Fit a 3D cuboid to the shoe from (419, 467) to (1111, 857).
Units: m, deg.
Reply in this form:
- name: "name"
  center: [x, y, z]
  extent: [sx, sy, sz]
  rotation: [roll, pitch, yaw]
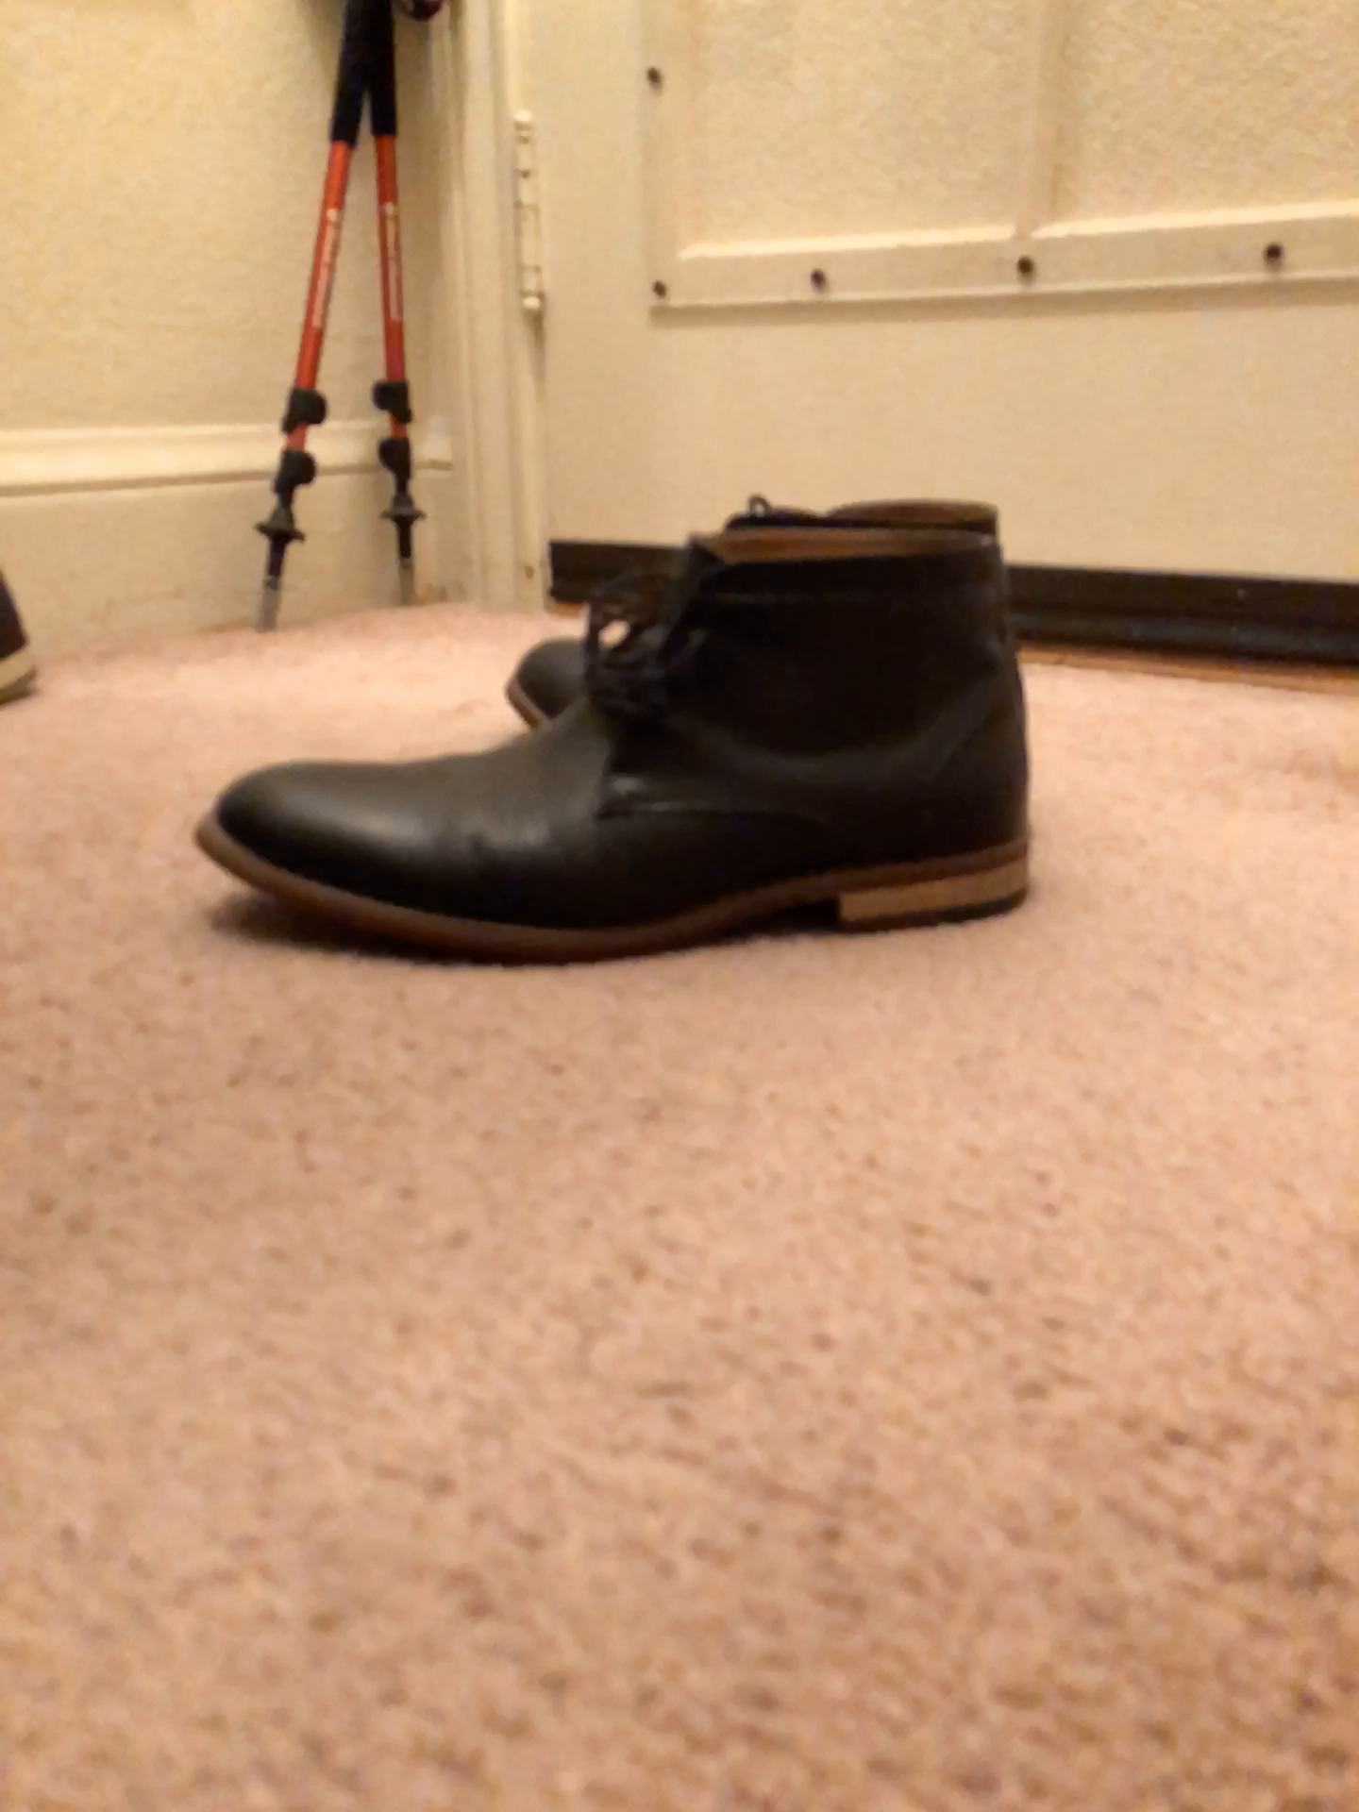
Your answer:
- name: "shoe"
  center: [0.030, -0.129, 0.693]
  extent: [0.302, 0.135, 0.116]
  rotation: [14, 24, 35]

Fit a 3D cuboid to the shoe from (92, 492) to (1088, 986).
- name: "shoe"
  center: [-0.028, -0.069, 0.518]
  extent: [0.302, 0.135, 0.117]
  rotation: [-4, 20, -10]
